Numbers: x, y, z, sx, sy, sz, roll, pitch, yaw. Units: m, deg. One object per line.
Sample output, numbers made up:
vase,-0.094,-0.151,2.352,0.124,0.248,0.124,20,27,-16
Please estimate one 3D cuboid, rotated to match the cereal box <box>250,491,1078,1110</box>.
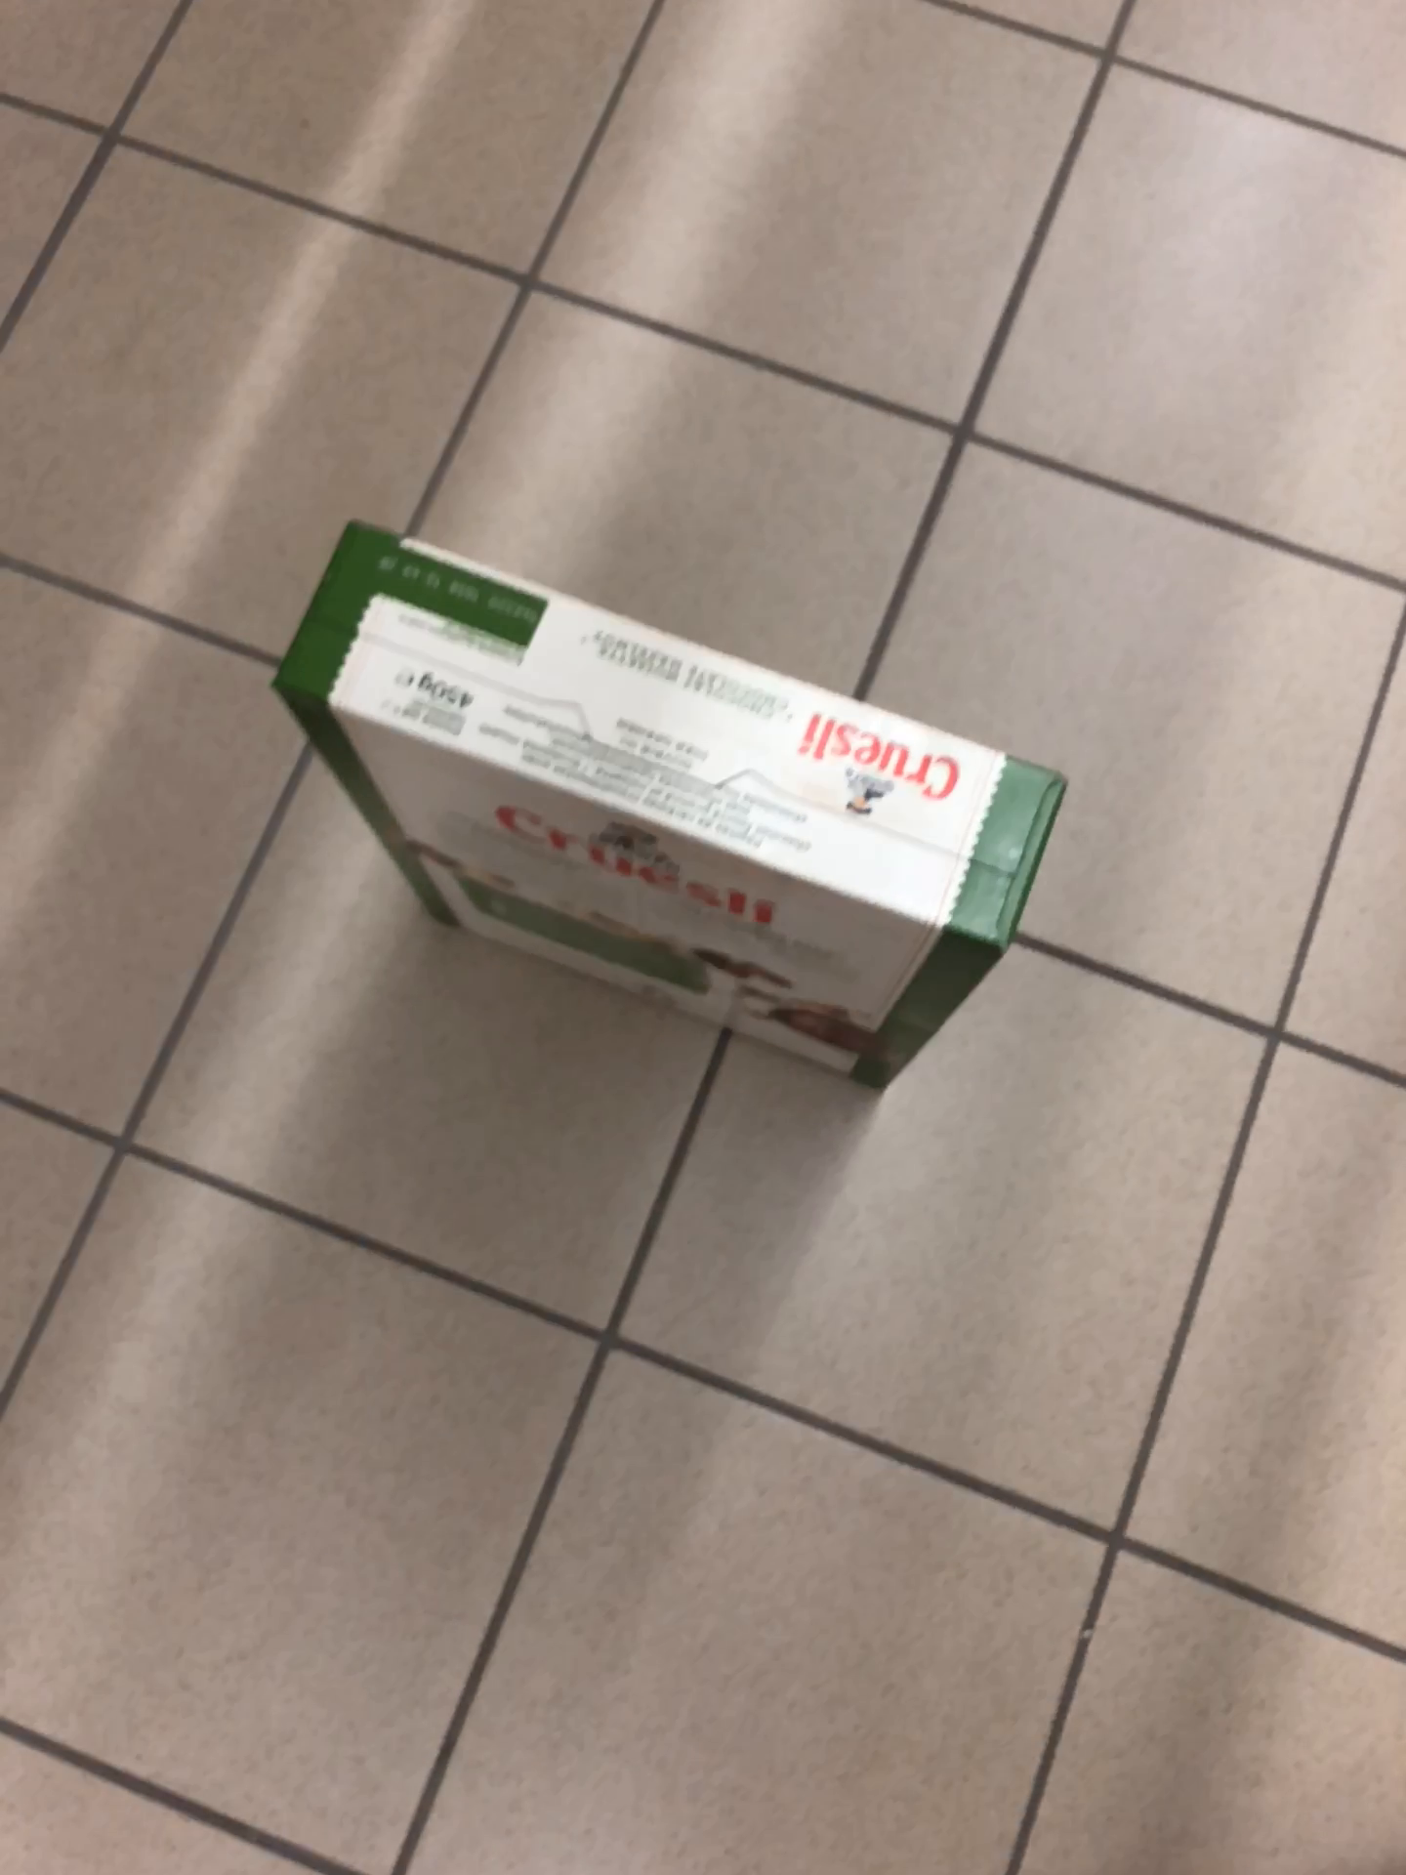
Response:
cereal box,-0.010,-0.022,0.491,0.190,0.240,0.060,22,78,4
